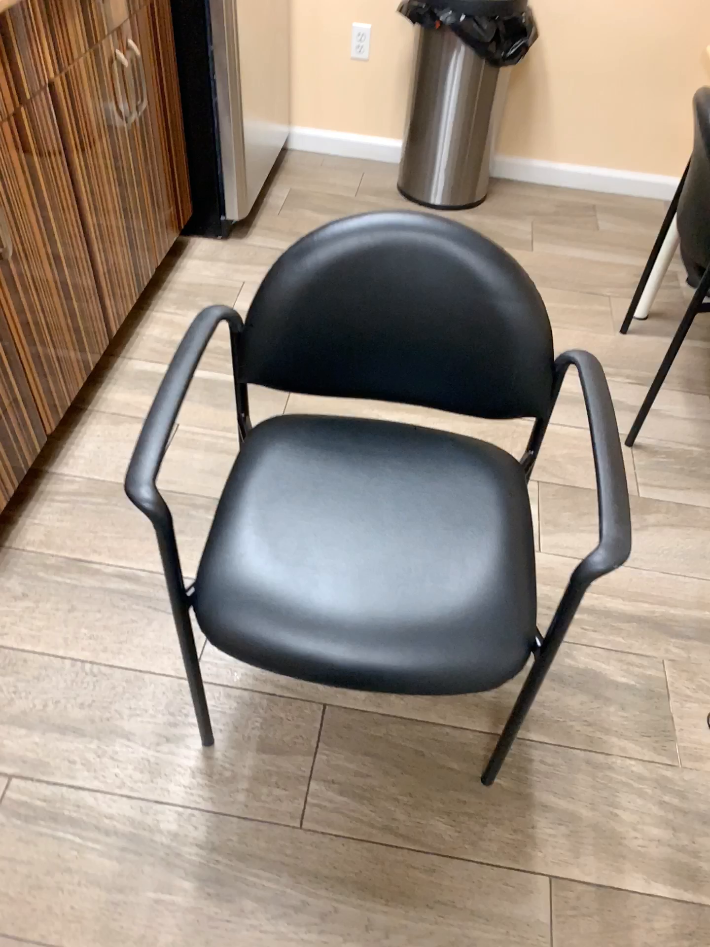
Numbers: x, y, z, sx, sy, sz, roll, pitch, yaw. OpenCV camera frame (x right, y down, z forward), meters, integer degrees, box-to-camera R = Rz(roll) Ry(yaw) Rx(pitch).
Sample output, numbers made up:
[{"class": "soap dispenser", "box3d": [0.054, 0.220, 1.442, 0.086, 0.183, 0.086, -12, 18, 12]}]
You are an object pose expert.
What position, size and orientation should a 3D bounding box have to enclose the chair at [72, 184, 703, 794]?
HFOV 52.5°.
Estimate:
[{"class": "chair", "box3d": [0.028, 0.061, 1.115, 0.590, 0.736, 0.523, 7, 47, 1]}]
